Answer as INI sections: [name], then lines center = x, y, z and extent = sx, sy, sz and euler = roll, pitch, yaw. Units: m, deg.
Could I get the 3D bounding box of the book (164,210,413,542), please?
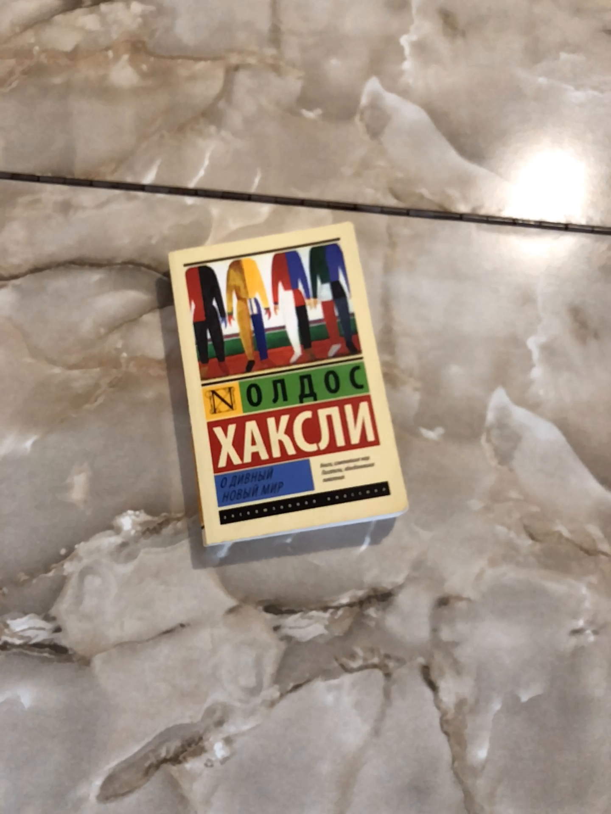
[book]
center = -0.013, -0.020, 0.407
extent = 0.120, 0.029, 0.184
euler = -8, 78, -2
